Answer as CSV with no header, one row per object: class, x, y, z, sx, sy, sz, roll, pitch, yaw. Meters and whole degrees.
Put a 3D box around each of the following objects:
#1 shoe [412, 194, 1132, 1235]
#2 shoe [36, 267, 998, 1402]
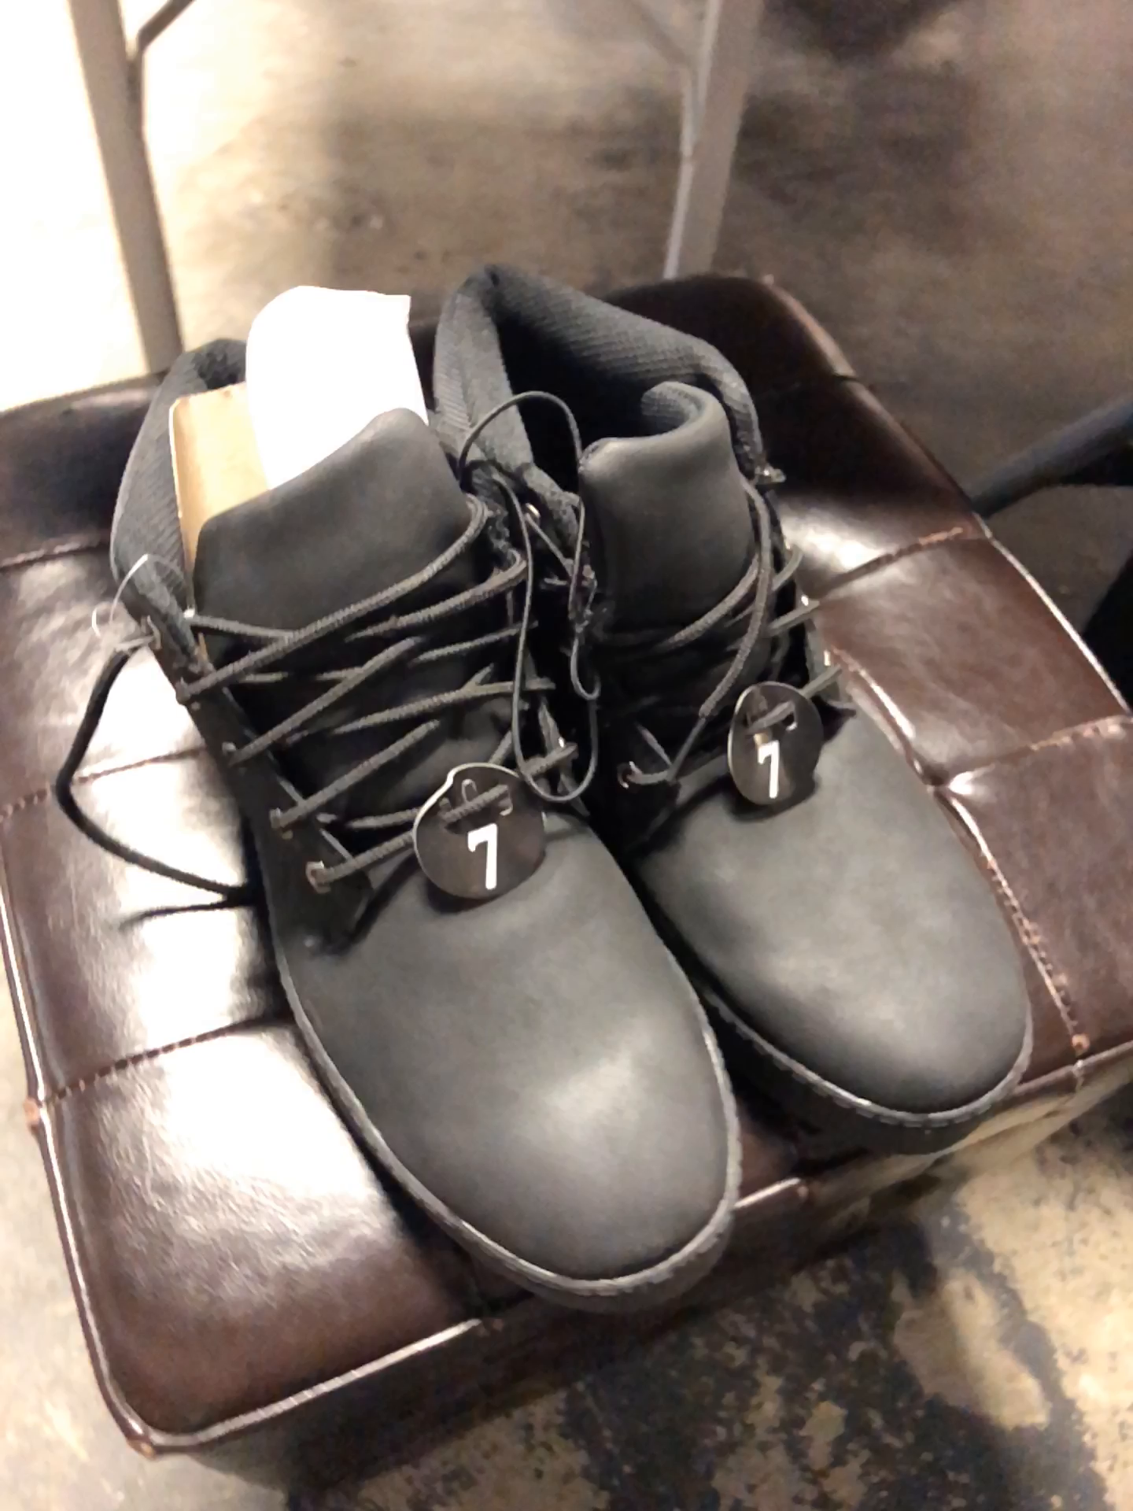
shoe,0.056,-0.015,0.337,0.100,0.139,0.221,-25,62,-22
shoe,-0.033,0.014,0.345,0.100,0.139,0.261,-25,62,-22
